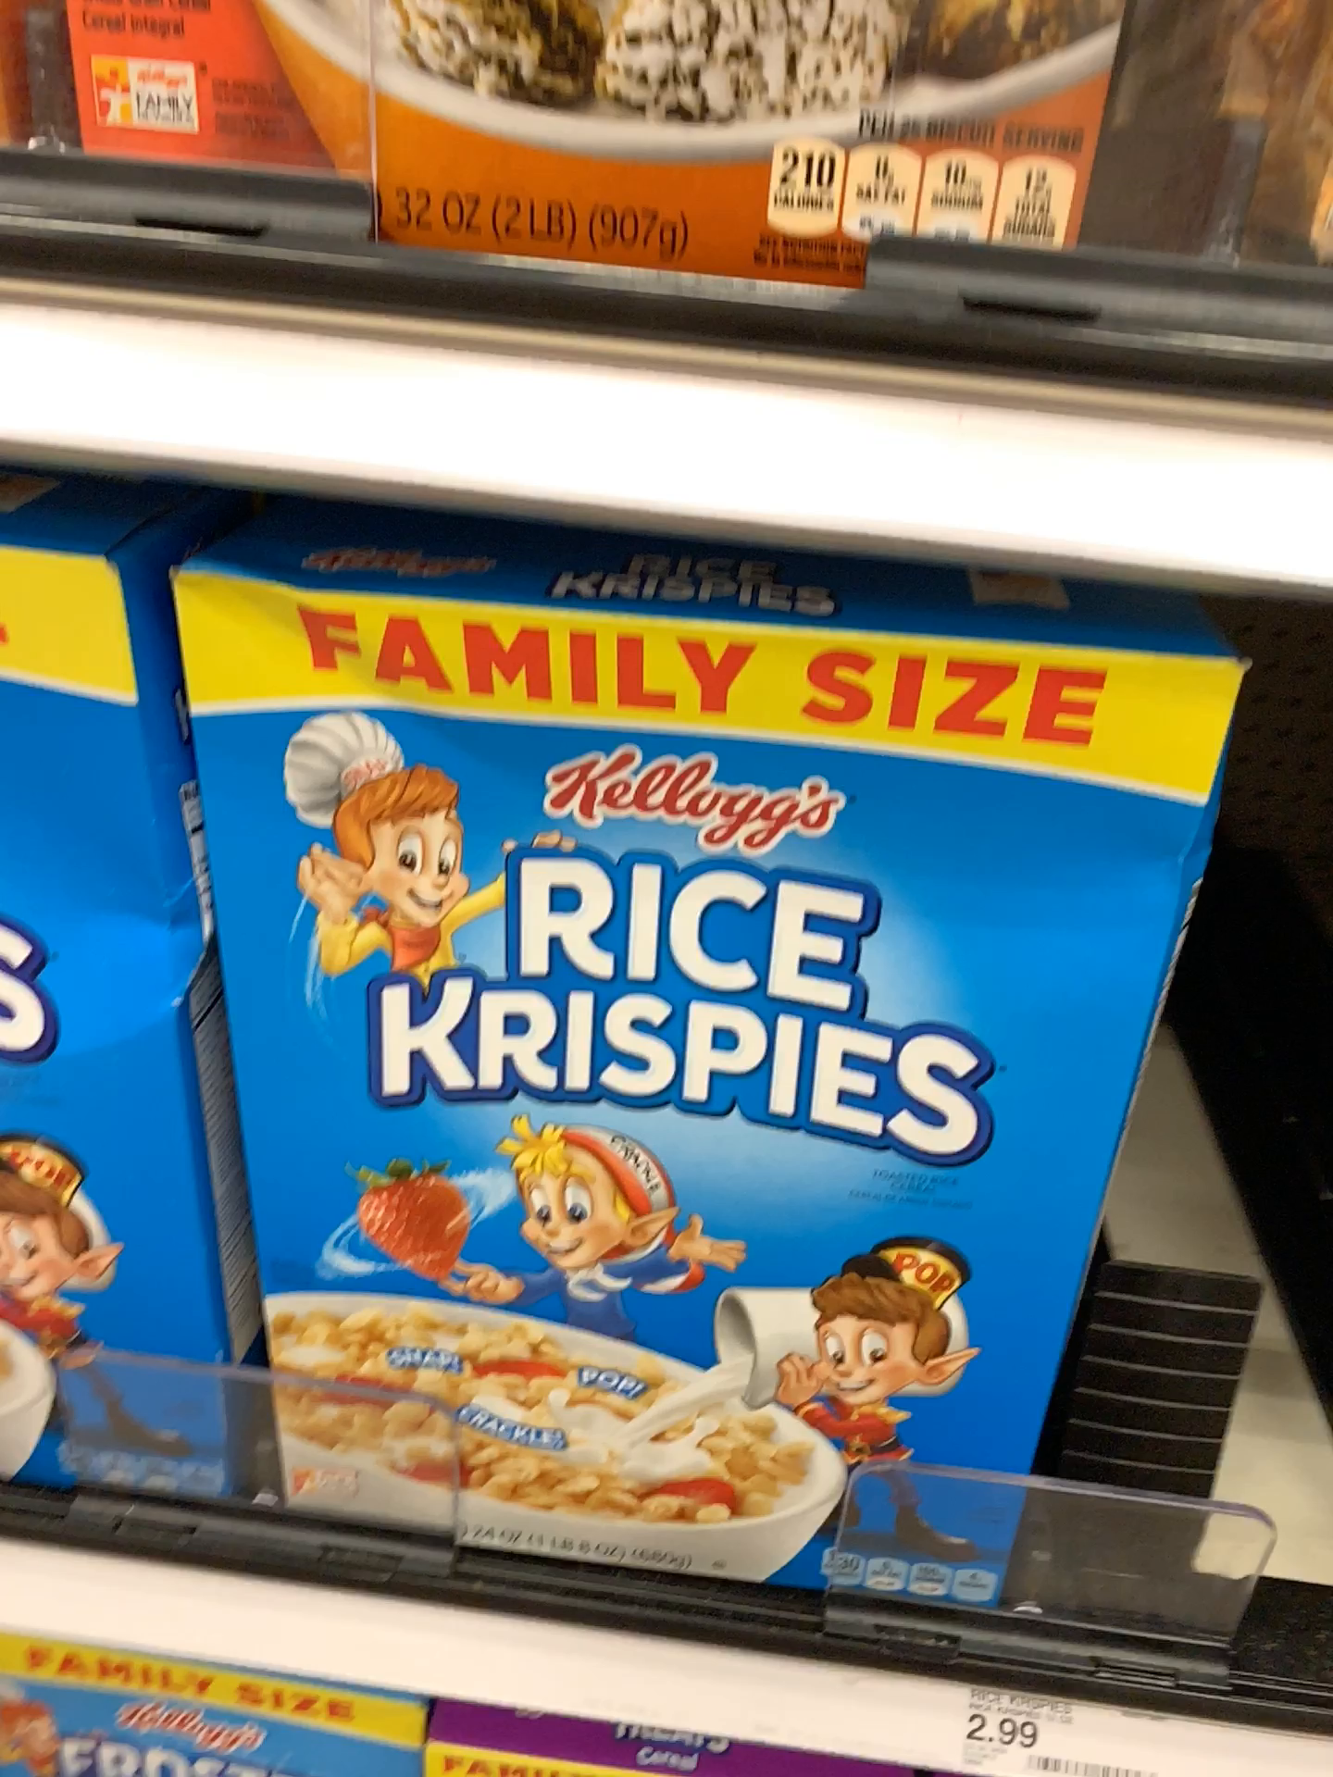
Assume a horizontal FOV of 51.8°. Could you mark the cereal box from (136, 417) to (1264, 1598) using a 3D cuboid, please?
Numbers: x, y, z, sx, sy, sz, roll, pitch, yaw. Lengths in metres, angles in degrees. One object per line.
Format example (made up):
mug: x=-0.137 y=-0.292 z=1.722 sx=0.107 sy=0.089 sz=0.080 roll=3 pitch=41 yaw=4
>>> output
cereal box: x=-0.004 y=0.054 z=0.431 sx=0.250 sy=0.348 sz=0.101 roll=6 pitch=29 yaw=1
